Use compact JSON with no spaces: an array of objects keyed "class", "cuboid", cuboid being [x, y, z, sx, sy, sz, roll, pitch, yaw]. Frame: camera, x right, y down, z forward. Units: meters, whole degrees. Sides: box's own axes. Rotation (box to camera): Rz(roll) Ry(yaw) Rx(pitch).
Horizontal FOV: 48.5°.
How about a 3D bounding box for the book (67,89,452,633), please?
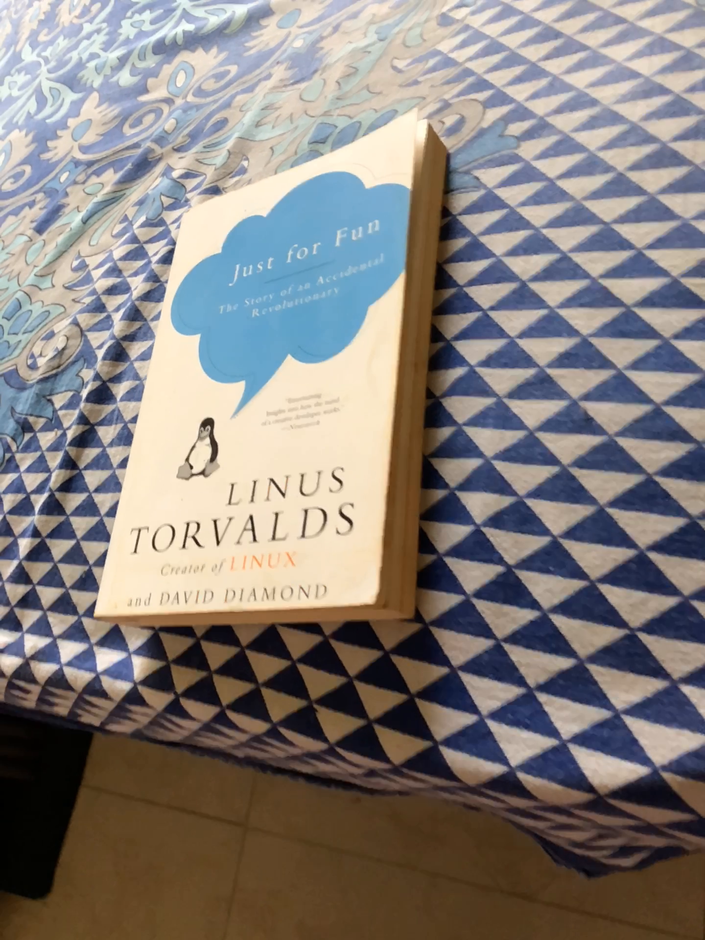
[{"class":"book","cuboid":[-0.035,-0.042,0.323,0.140,0.030,0.210,-9,63,32]}]
